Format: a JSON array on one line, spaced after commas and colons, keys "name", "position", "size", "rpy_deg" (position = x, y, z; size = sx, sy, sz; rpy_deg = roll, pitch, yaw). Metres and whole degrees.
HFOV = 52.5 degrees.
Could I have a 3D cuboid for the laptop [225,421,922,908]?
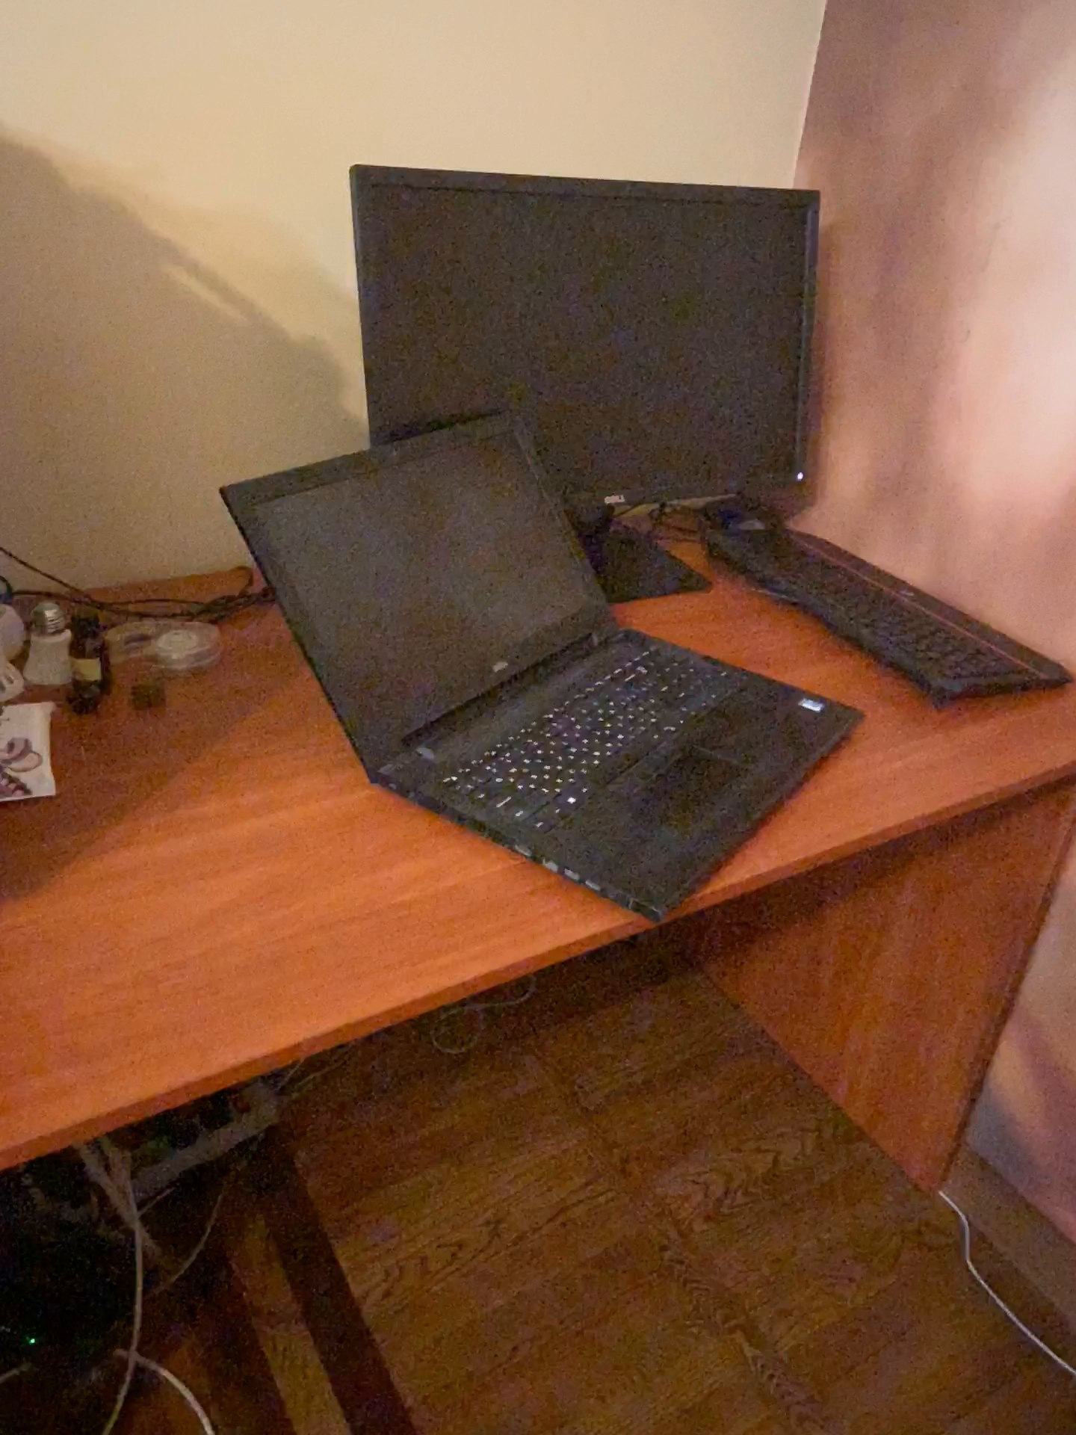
[{"name": "laptop", "position": [0.031, -0.083, 0.867], "size": [0.392, 0.181, 0.357], "rpy_deg": [22, 32, 29]}]
